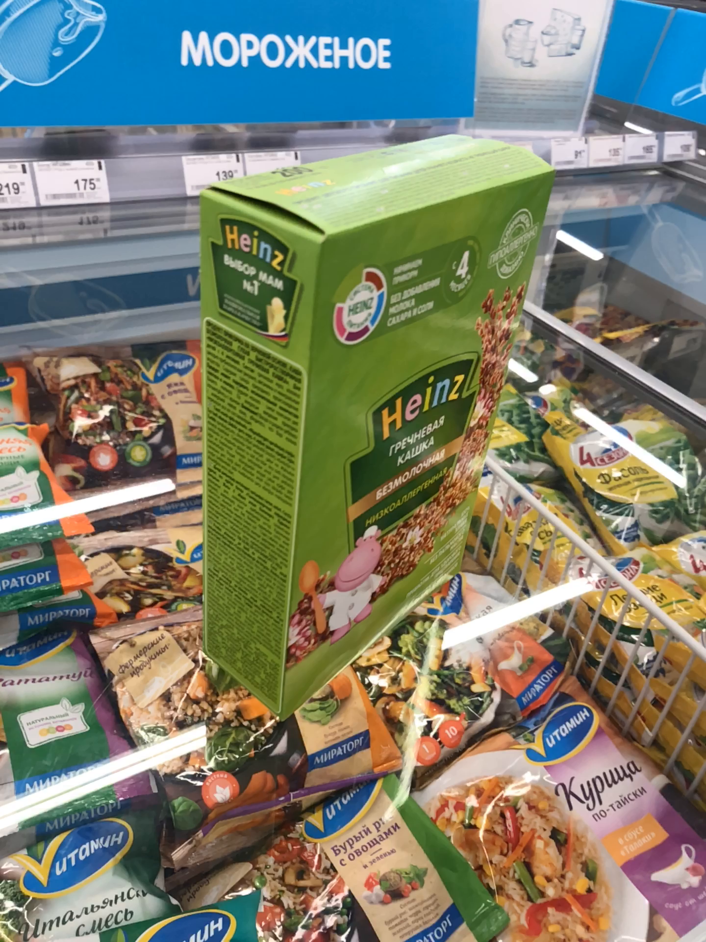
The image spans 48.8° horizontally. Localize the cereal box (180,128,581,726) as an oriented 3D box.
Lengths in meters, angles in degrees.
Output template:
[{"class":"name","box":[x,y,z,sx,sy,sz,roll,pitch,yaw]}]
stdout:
[{"class":"cereal box","box":[0.008,-0.019,0.299,0.050,0.189,0.141,30,41,29]}]
